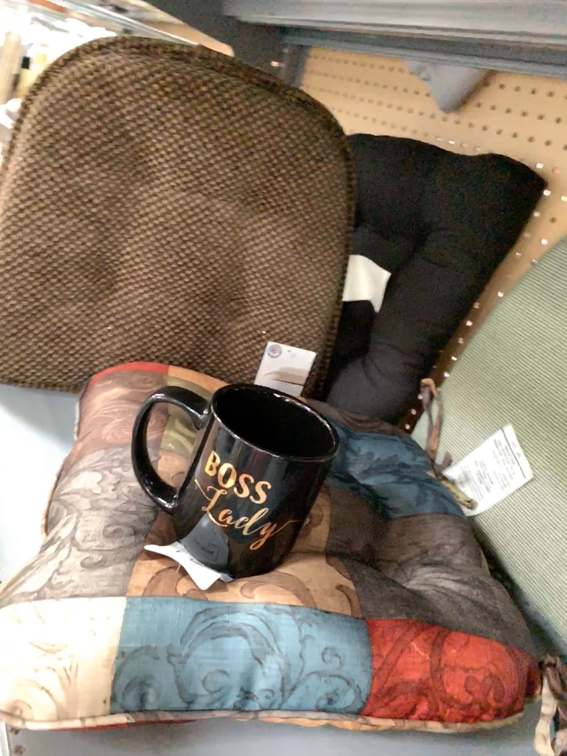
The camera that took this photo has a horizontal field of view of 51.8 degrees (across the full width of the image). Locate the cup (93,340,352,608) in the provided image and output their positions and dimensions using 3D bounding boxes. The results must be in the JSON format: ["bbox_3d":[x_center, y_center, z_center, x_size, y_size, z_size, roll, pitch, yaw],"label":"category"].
[{"bbox_3d":[-0.035,0.061,0.402,0.130,0.100,0.100,27,23,-3],"label":"cup"}]
